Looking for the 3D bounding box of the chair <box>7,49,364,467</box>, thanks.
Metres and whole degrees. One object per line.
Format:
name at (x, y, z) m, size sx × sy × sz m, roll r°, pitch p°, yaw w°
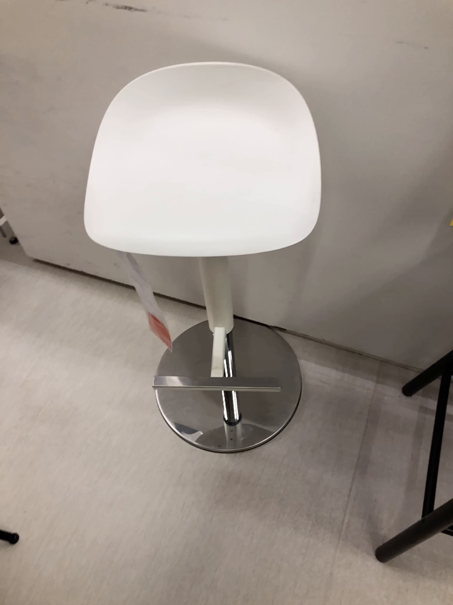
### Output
chair at (-0.024, -0.030, 1.059) m, size 0.440 × 0.746 × 0.513 m, roll 0°, pitch 54°, yaw 4°
